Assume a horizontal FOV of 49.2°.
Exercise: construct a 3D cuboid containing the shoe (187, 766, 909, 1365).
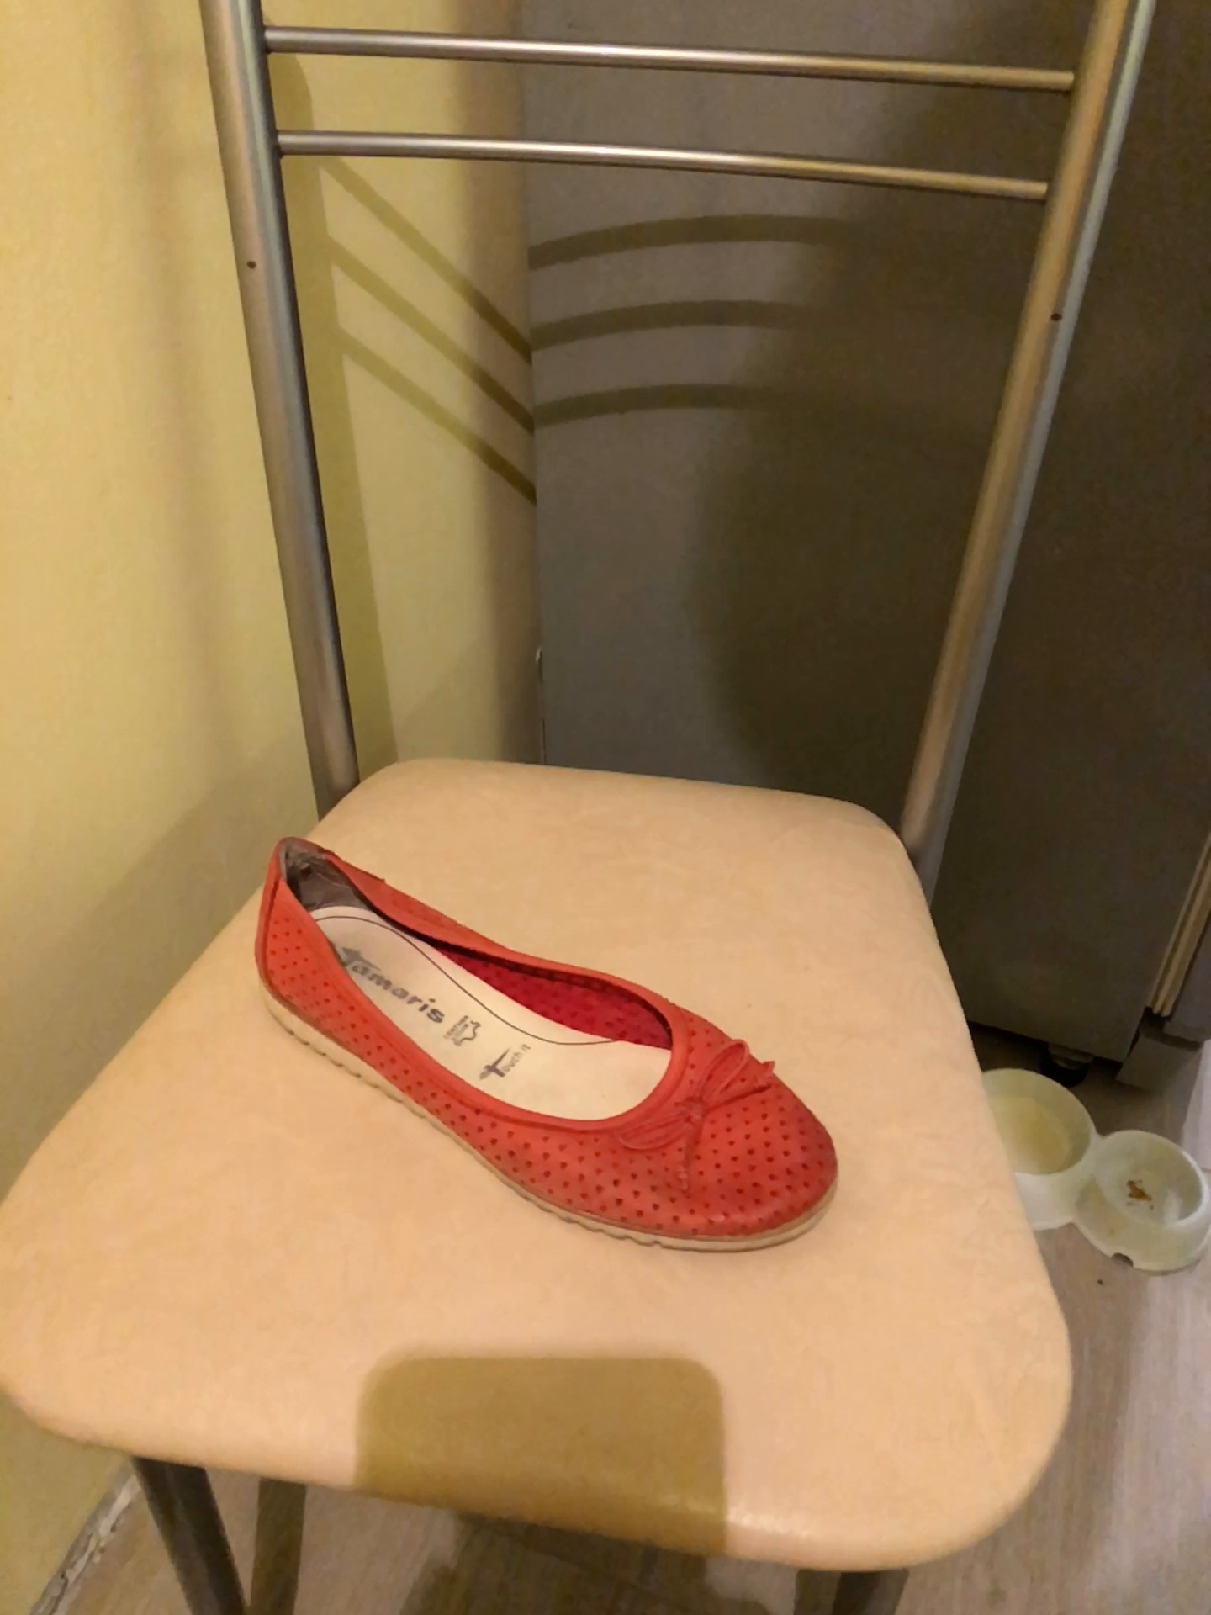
[{"bbox_3d":[-0.027,0.084,0.504,0.250,0.080,0.101,23,44,25],"label":"shoe"}]
